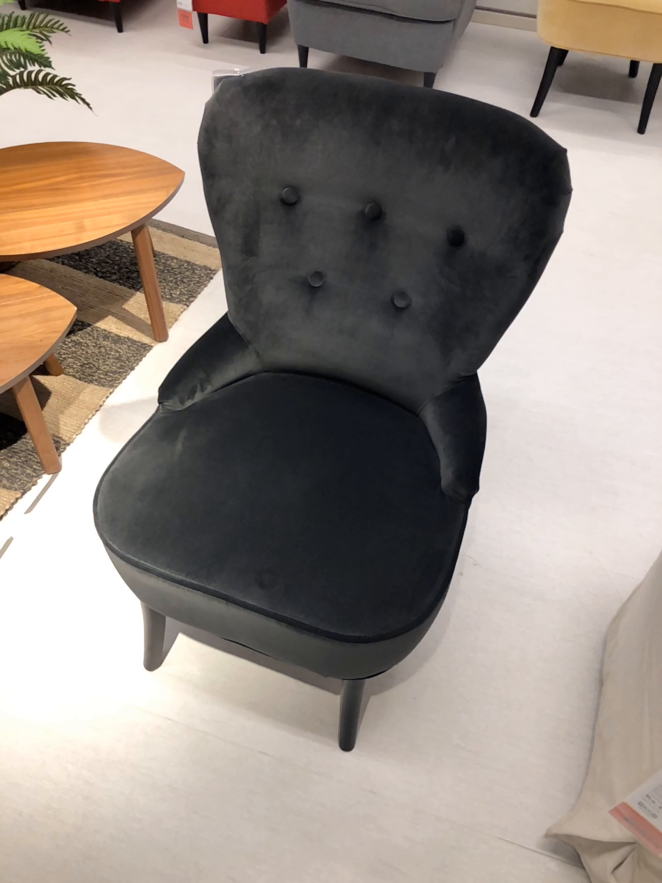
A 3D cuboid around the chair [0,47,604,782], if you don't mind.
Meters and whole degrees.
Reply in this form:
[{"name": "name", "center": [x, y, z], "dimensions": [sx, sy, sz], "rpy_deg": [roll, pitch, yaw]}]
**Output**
[{"name": "chair", "center": [-0.013, -0.046, 1.215], "dimensions": [0.600, 0.775, 0.794], "rpy_deg": [16, 52, 11]}]
